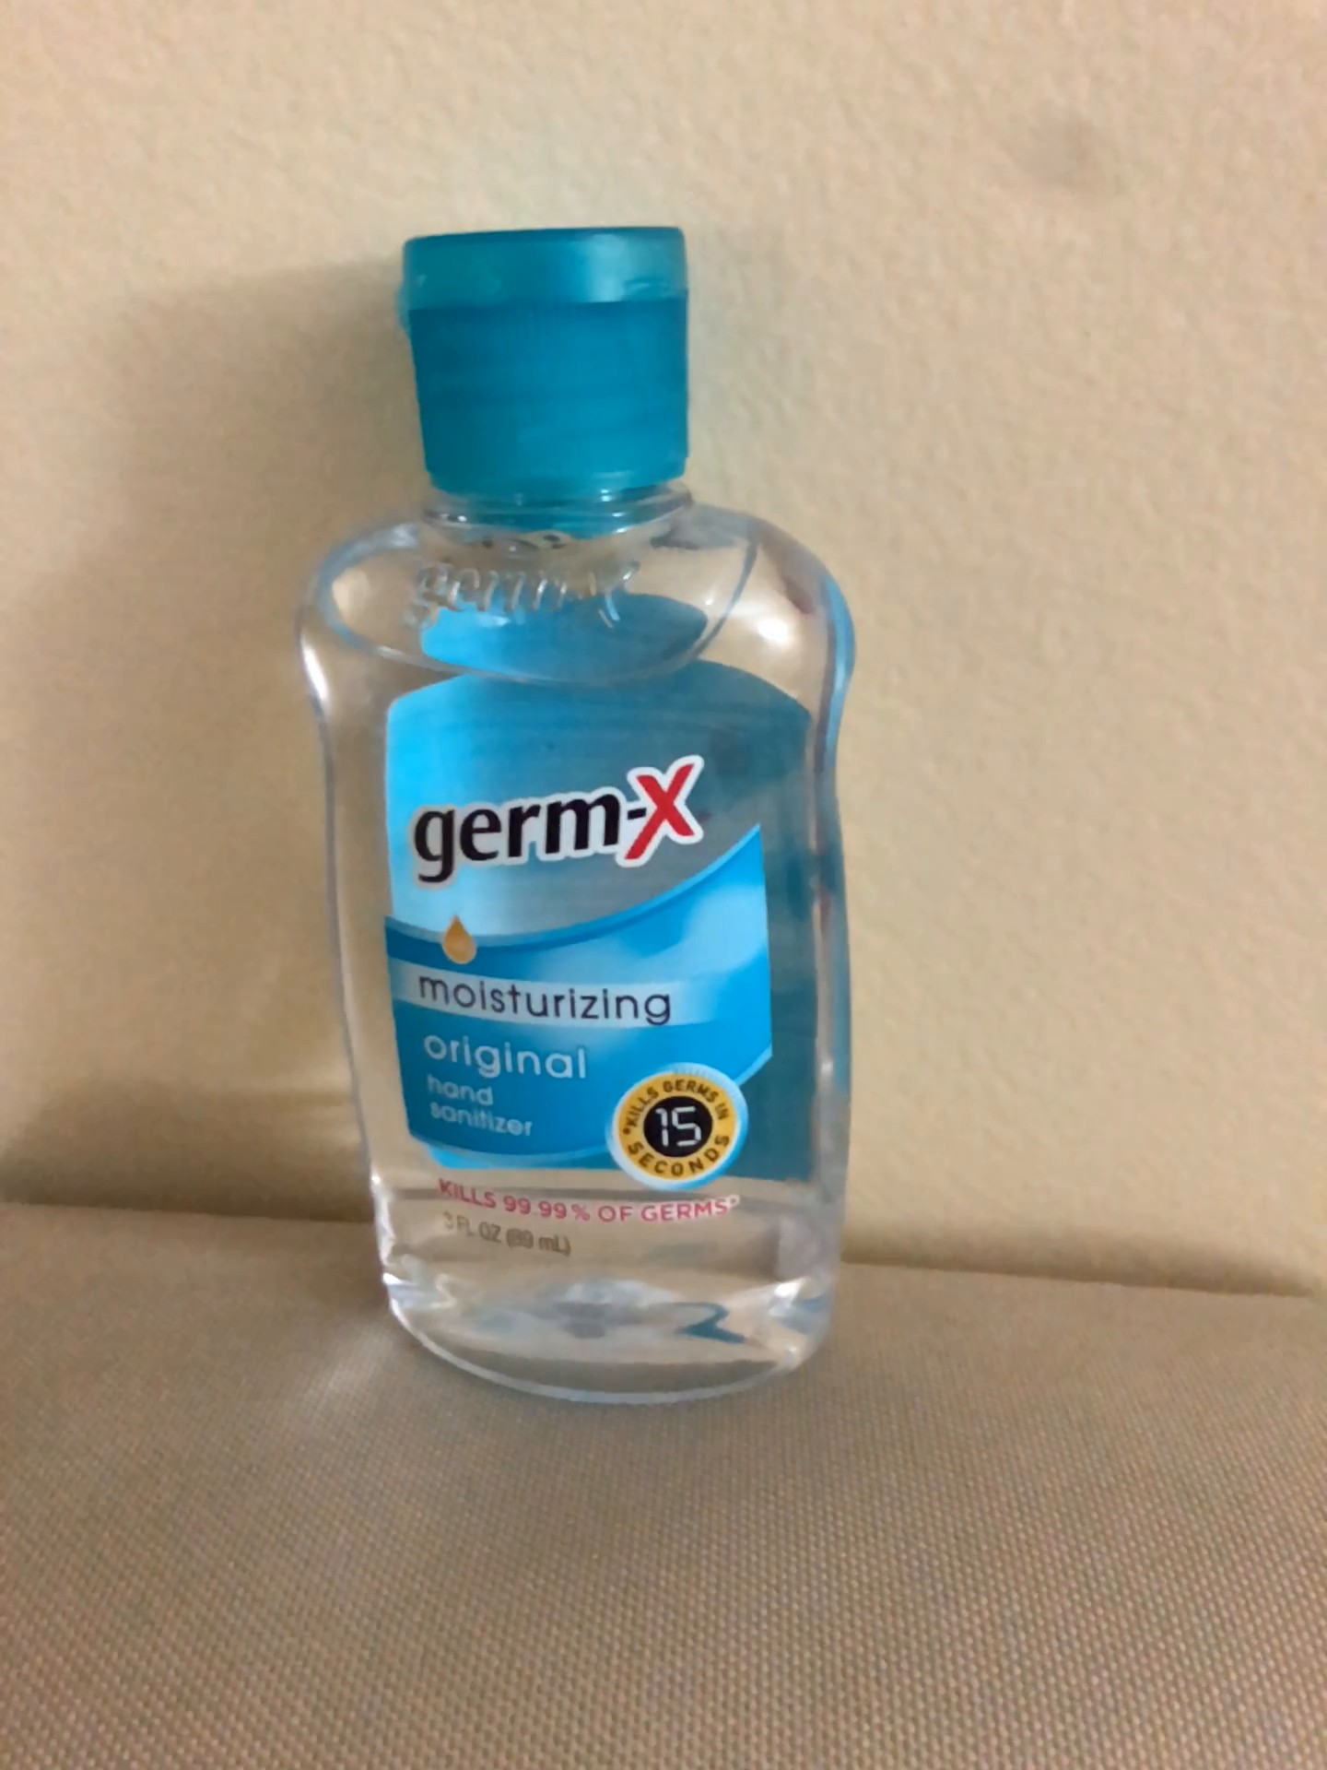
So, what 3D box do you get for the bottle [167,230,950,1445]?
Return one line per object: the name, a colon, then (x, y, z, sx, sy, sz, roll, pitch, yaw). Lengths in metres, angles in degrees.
bottle: (-0.007, -0.003, 0.147, 0.060, 0.110, 0.030, 3, 21, 7)
